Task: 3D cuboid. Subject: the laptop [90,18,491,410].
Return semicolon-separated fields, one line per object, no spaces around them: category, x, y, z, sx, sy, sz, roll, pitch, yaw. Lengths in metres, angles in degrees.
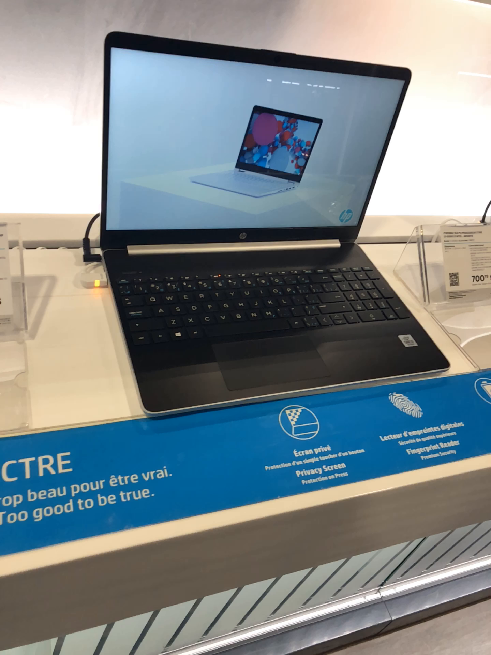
laptop;0.045;-0.123;0.556;0.356;0.221;0.284;-5;47;-22
